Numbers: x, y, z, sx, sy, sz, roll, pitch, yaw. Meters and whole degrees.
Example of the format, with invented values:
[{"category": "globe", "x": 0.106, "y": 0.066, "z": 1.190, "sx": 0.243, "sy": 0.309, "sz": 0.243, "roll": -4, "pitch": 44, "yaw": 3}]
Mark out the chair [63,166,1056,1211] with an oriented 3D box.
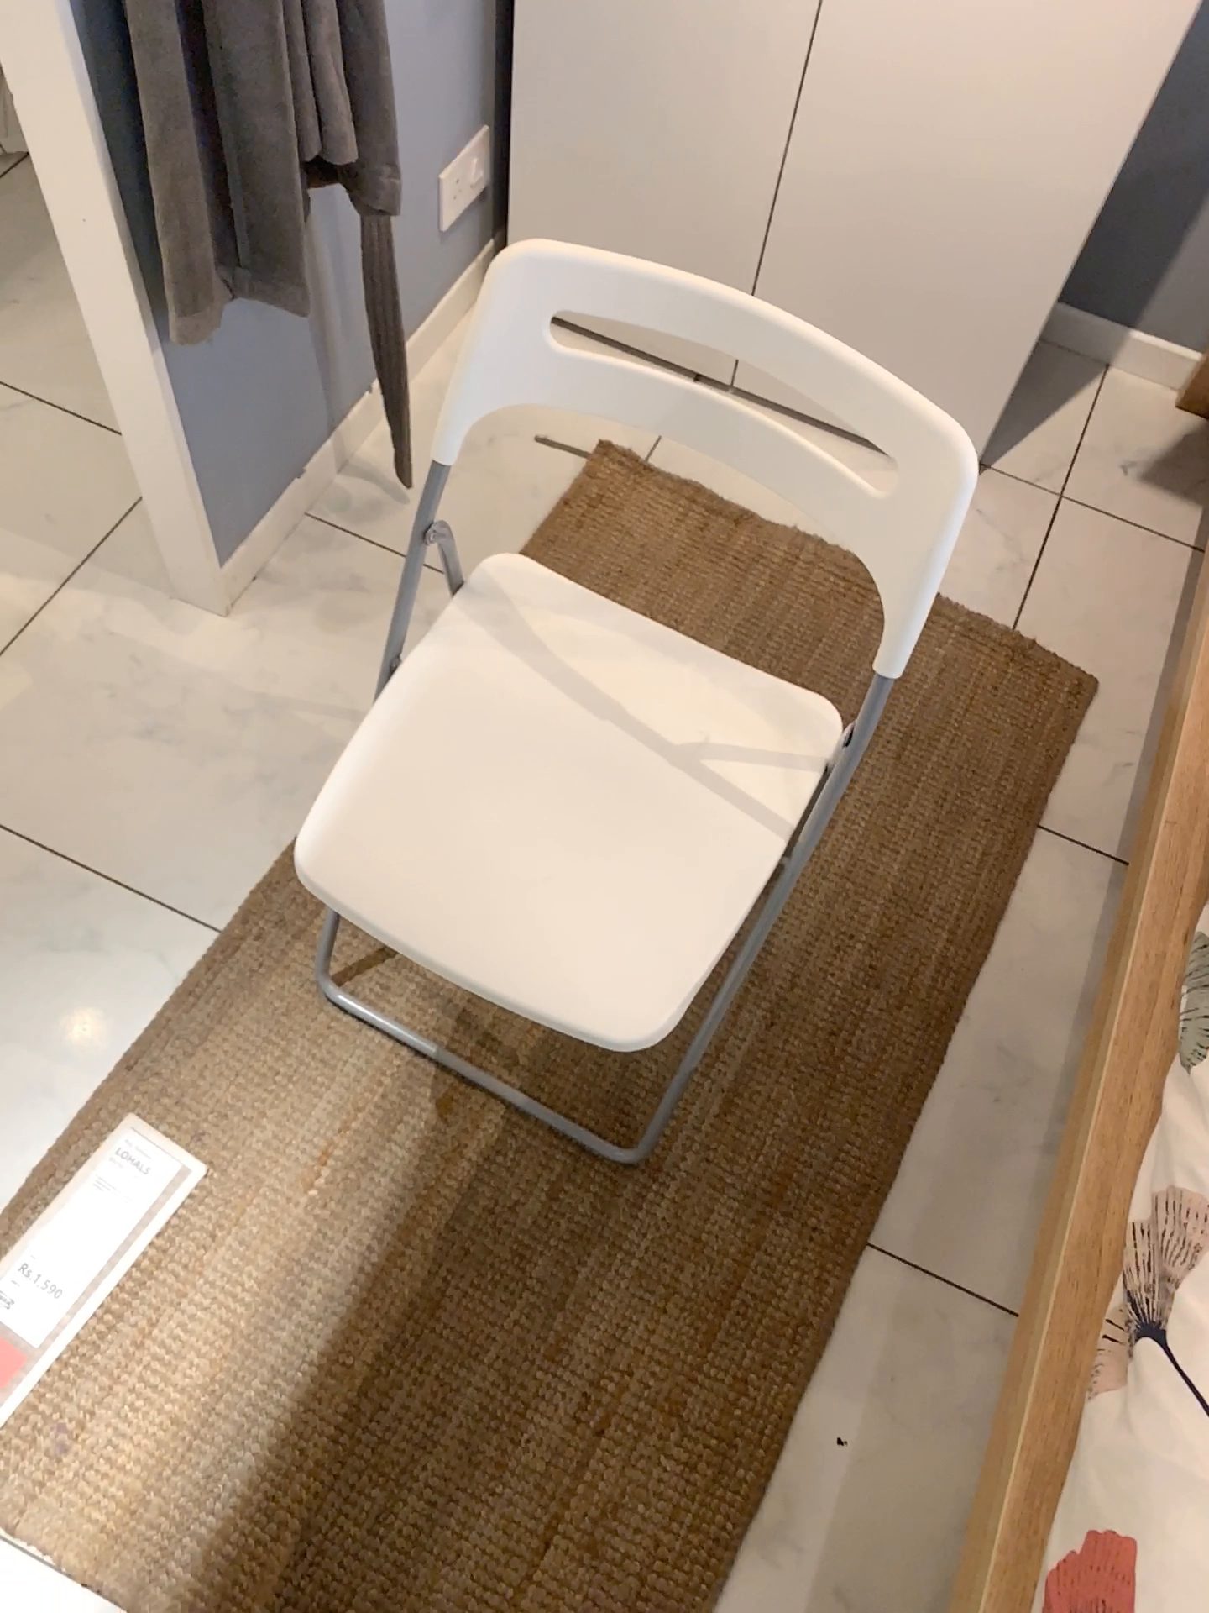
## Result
[{"category": "chair", "x": -0.031, "y": -0.037, "z": 1.035, "sx": 0.450, "sy": 0.659, "sz": 0.431, "roll": 28, "pitch": 62, "yaw": 10}]
